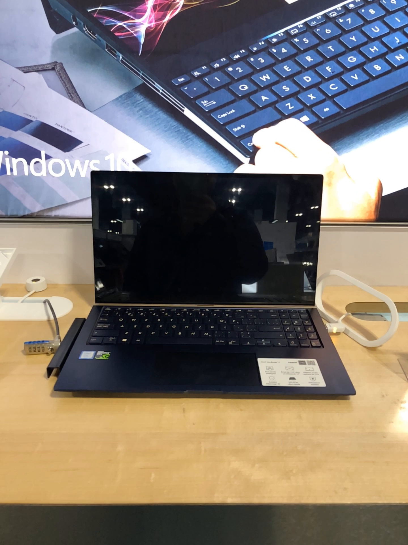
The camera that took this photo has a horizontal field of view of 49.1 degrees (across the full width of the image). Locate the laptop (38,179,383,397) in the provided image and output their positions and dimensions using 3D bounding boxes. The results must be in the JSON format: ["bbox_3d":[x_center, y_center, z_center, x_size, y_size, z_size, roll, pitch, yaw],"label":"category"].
[{"bbox_3d":[0.007,0.001,0.586,0.336,0.196,0.250,1,22,1],"label":"laptop"}]
